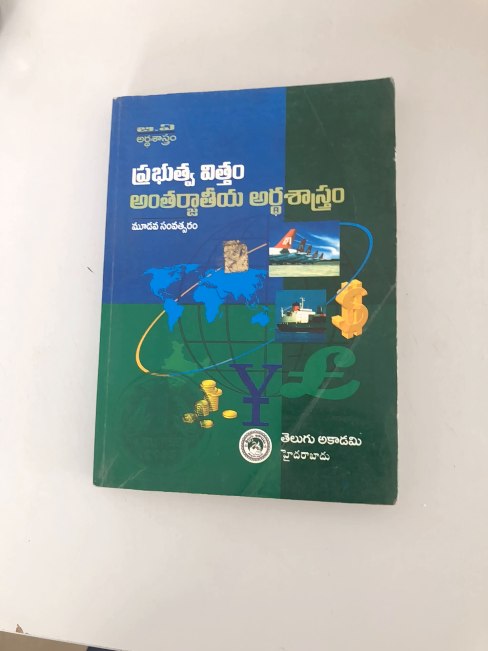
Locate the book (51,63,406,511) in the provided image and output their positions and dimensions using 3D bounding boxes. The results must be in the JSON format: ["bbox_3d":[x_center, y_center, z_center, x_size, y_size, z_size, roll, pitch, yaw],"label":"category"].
[{"bbox_3d":[-0.006,-0.024,0.324,0.190,0.050,0.240,0,82,9],"label":"book"}]
